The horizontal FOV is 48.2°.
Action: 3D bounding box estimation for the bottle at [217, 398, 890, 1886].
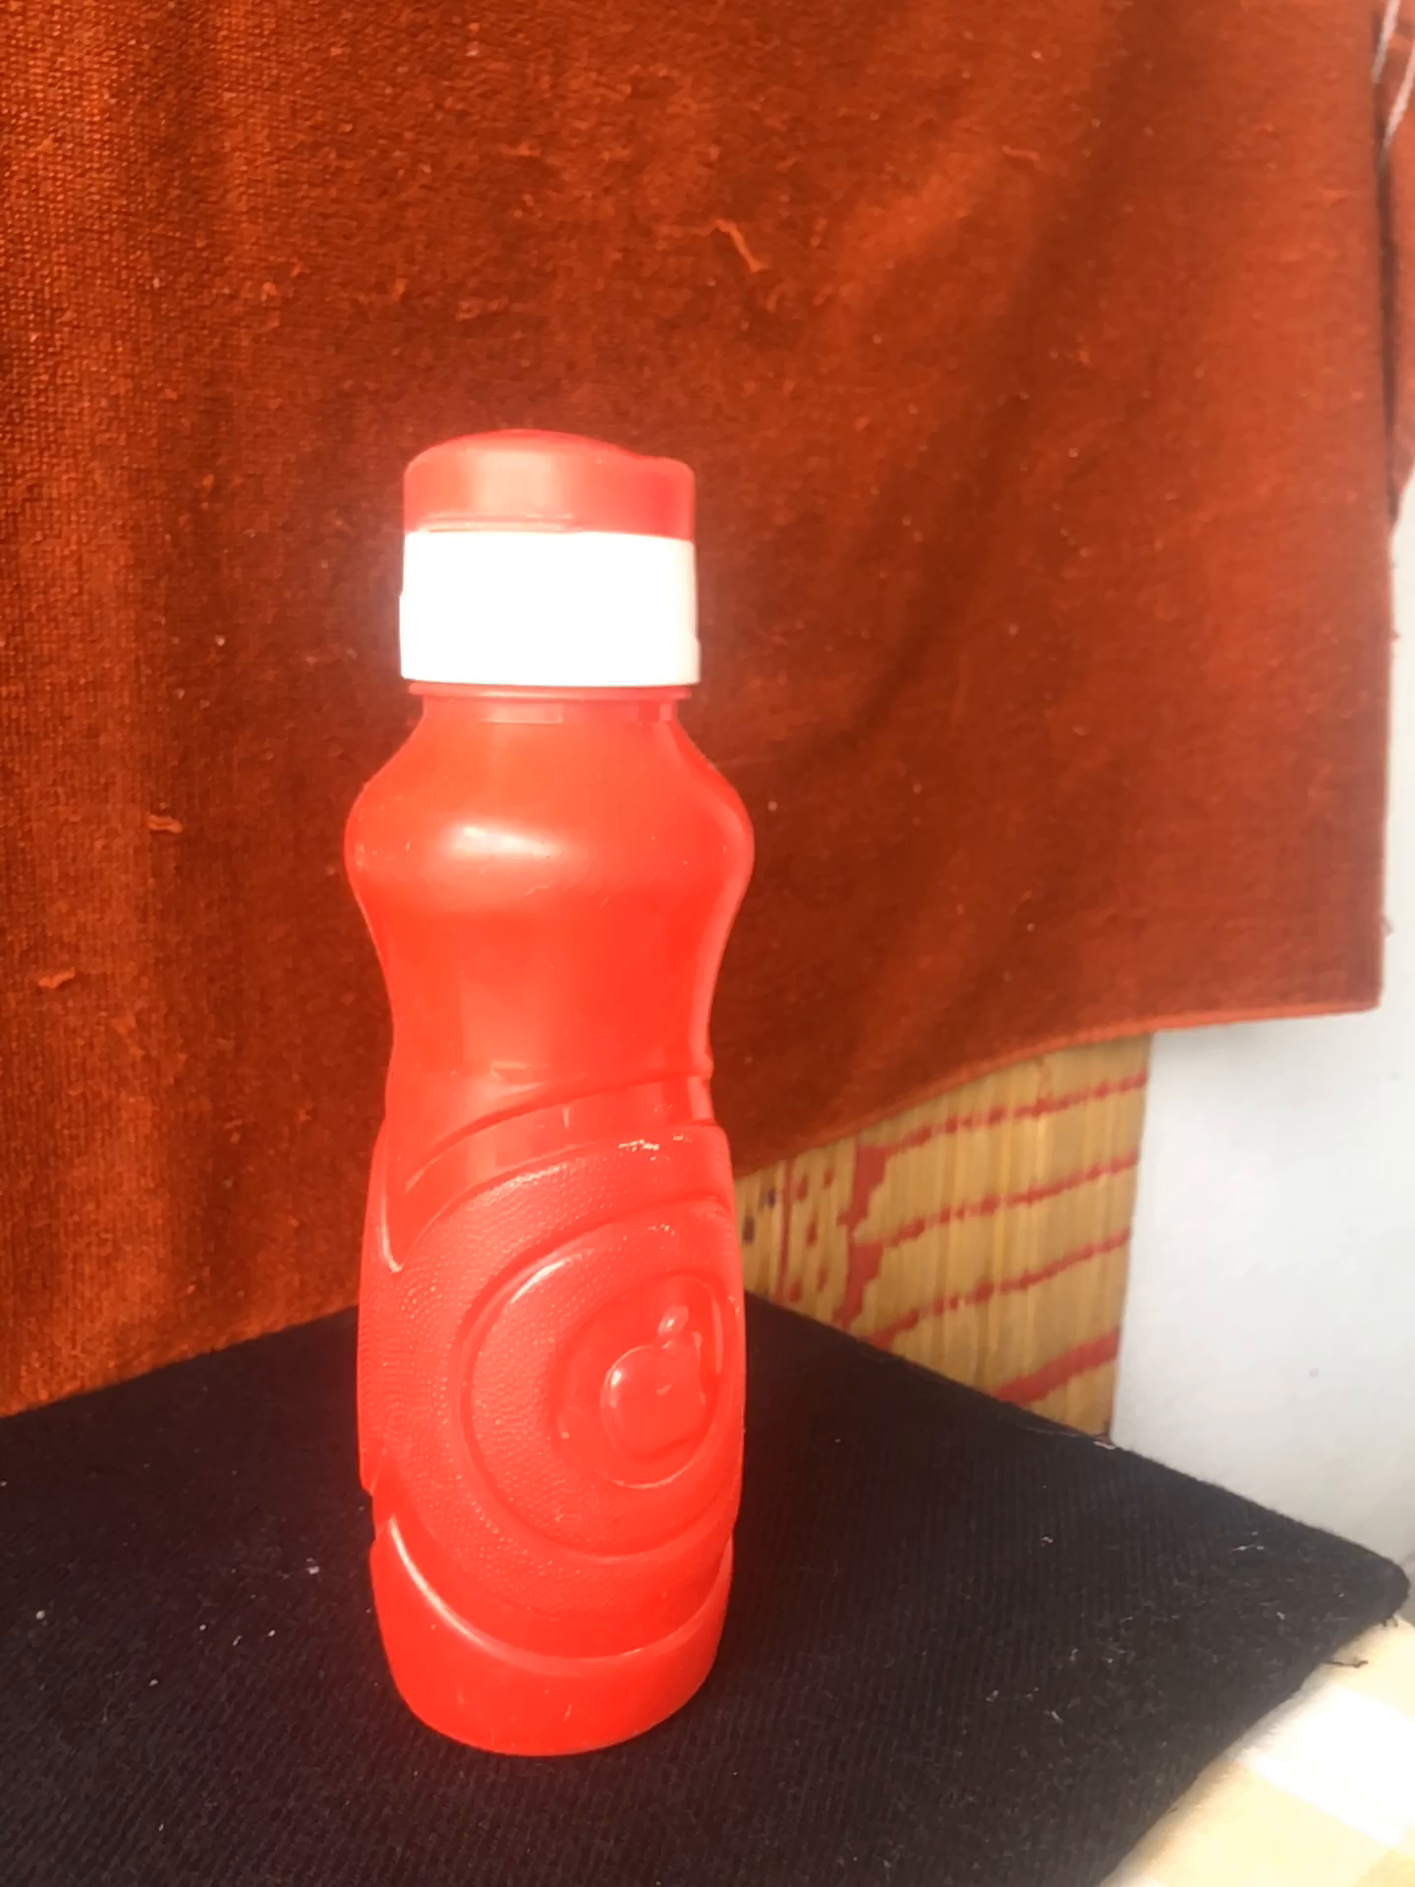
[{"bbox_3d":[-0.032,0.028,0.273,0.080,0.219,0.070,-4,14,-36],"label":"bottle"}]
